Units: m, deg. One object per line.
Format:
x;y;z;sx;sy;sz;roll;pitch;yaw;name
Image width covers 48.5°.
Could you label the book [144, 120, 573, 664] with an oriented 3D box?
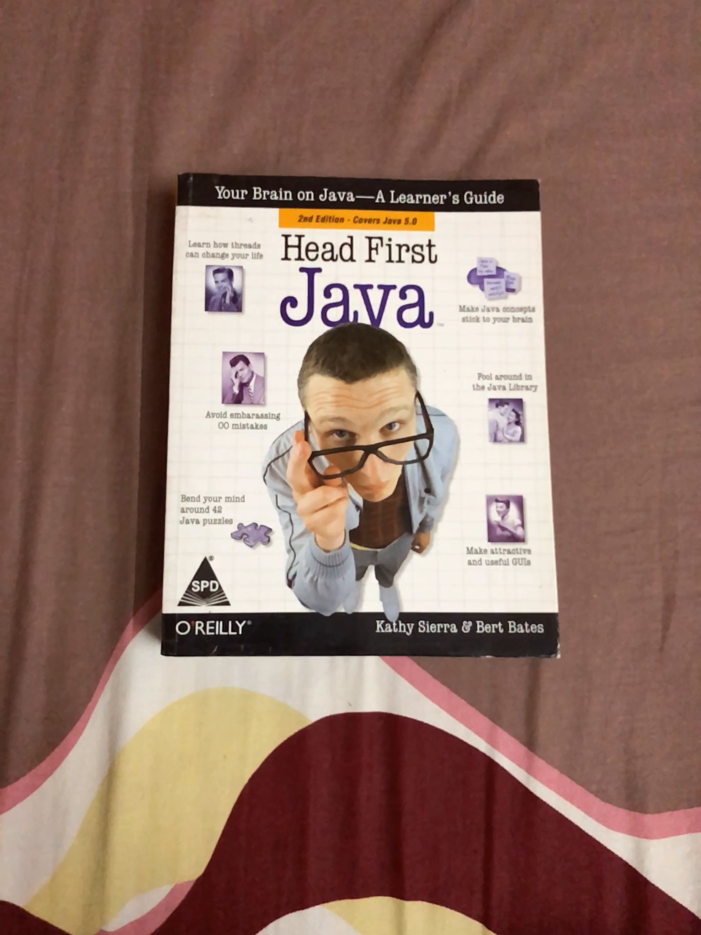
0.004;-0.038;0.390;0.190;0.050;0.260;0;81;-1;book
